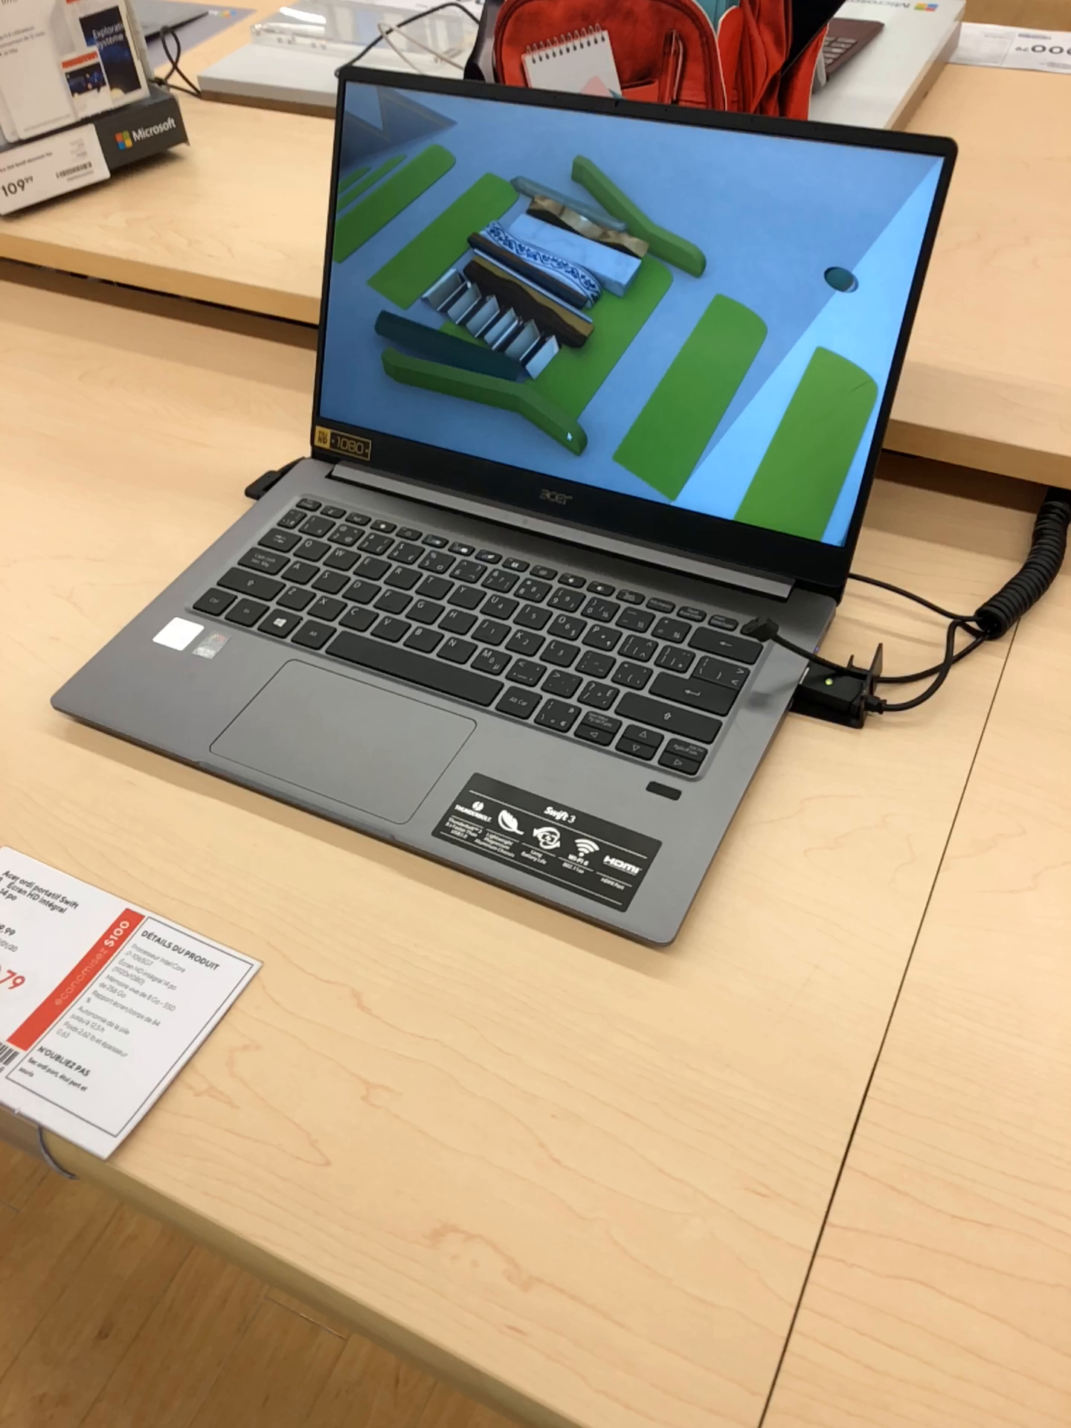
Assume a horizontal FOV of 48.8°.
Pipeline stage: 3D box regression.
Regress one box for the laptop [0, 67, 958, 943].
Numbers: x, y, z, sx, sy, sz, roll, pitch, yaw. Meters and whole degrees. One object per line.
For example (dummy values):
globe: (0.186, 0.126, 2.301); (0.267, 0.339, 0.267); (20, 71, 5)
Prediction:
laptop: (-0.024, -0.125, 0.532); (0.315, 0.177, 0.312); (18, 51, 20)
